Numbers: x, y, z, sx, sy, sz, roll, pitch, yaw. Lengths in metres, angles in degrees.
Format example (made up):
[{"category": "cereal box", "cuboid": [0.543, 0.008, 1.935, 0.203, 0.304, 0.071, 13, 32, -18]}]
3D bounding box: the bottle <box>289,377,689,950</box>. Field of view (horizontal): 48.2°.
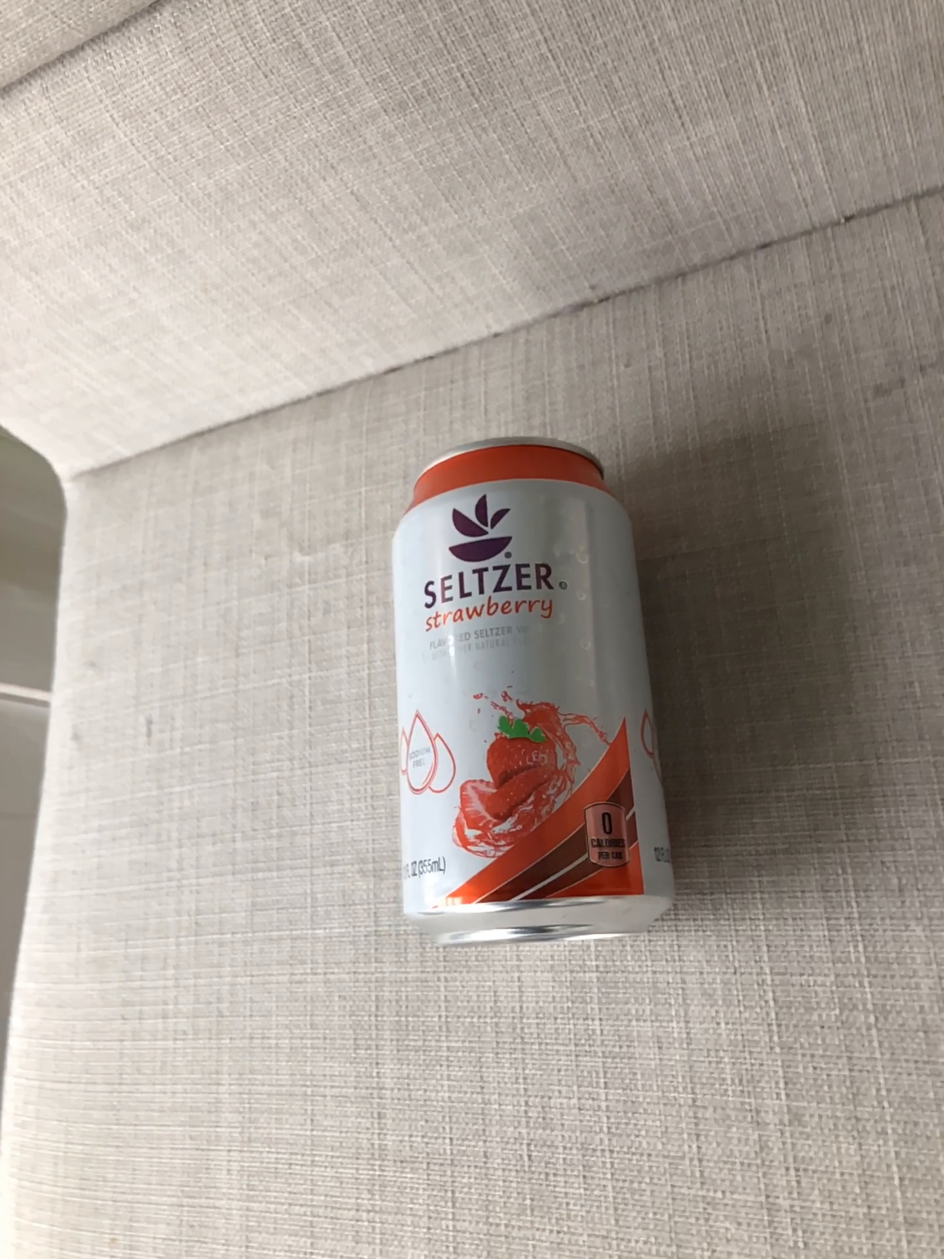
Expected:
[{"category": "bottle", "cuboid": [0.004, 0.015, 0.265, 0.070, 0.070, 0.120, -11, 72, 24]}]
